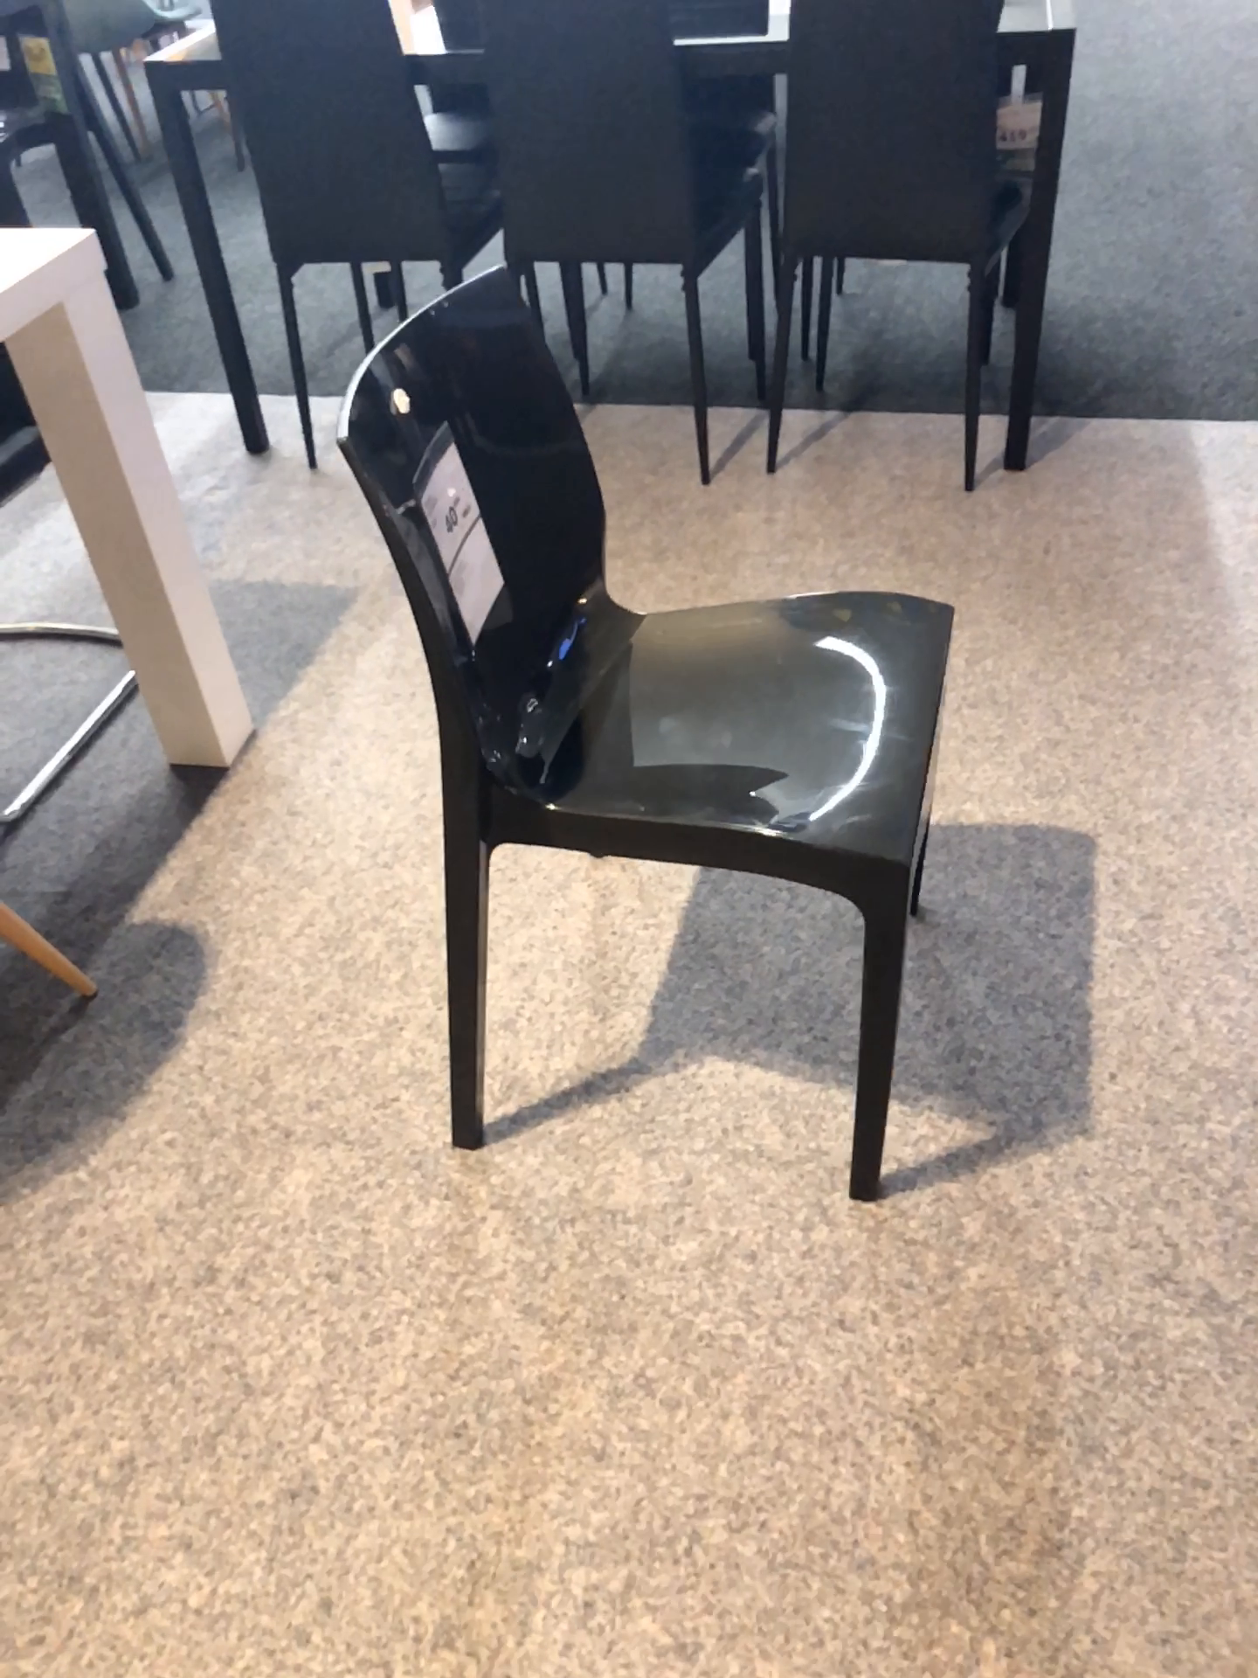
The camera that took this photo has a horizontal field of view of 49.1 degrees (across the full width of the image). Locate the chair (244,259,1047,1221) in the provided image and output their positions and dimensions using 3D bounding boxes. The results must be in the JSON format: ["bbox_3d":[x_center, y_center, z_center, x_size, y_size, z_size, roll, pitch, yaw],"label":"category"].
[{"bbox_3d":[0.080,-0.103,1.393,0.569,0.766,0.523,5,41,13],"label":"chair"}]
